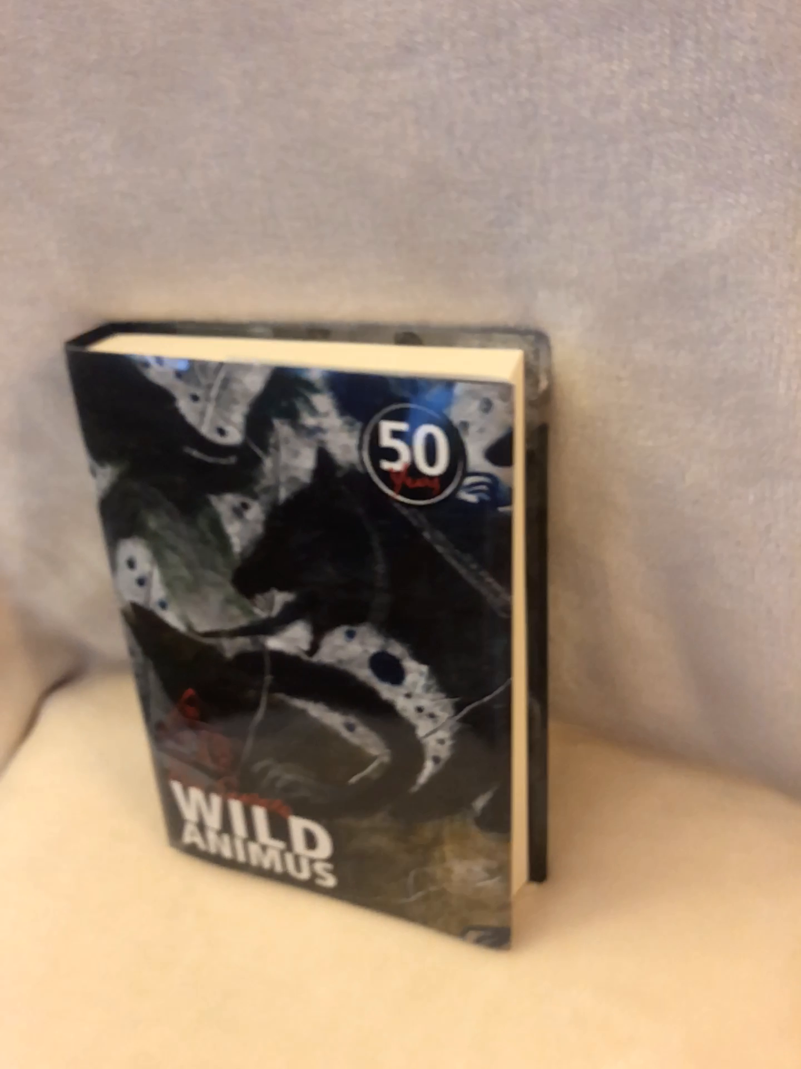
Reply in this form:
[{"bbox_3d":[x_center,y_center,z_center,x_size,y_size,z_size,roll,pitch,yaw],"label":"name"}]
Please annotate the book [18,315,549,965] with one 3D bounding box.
[{"bbox_3d":[-0.034,0.038,0.325,0.163,0.216,0.043,8,27,21],"label":"book"}]
